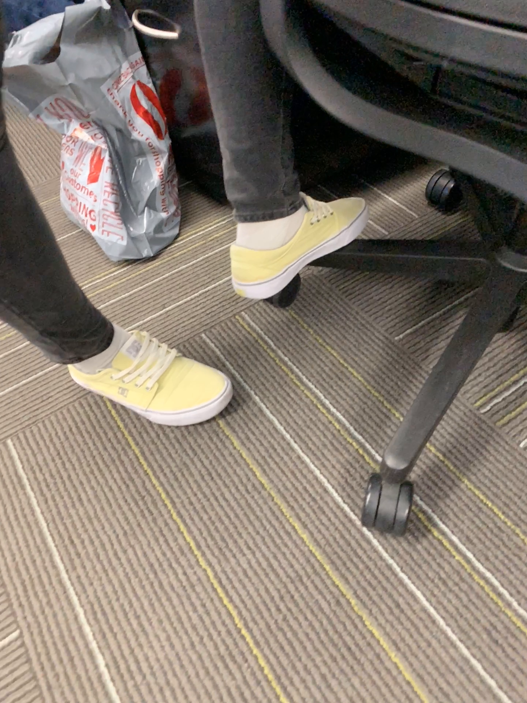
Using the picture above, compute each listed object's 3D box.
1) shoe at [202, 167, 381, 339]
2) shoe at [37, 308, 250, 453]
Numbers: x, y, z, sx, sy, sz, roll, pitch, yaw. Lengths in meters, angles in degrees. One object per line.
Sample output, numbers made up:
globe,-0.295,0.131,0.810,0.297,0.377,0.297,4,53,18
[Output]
shoe,0.048,-0.149,0.773,0.099,0.096,0.260,34,61,30
shoe,-0.168,0.037,0.772,0.269,0.101,0.102,15,53,19
